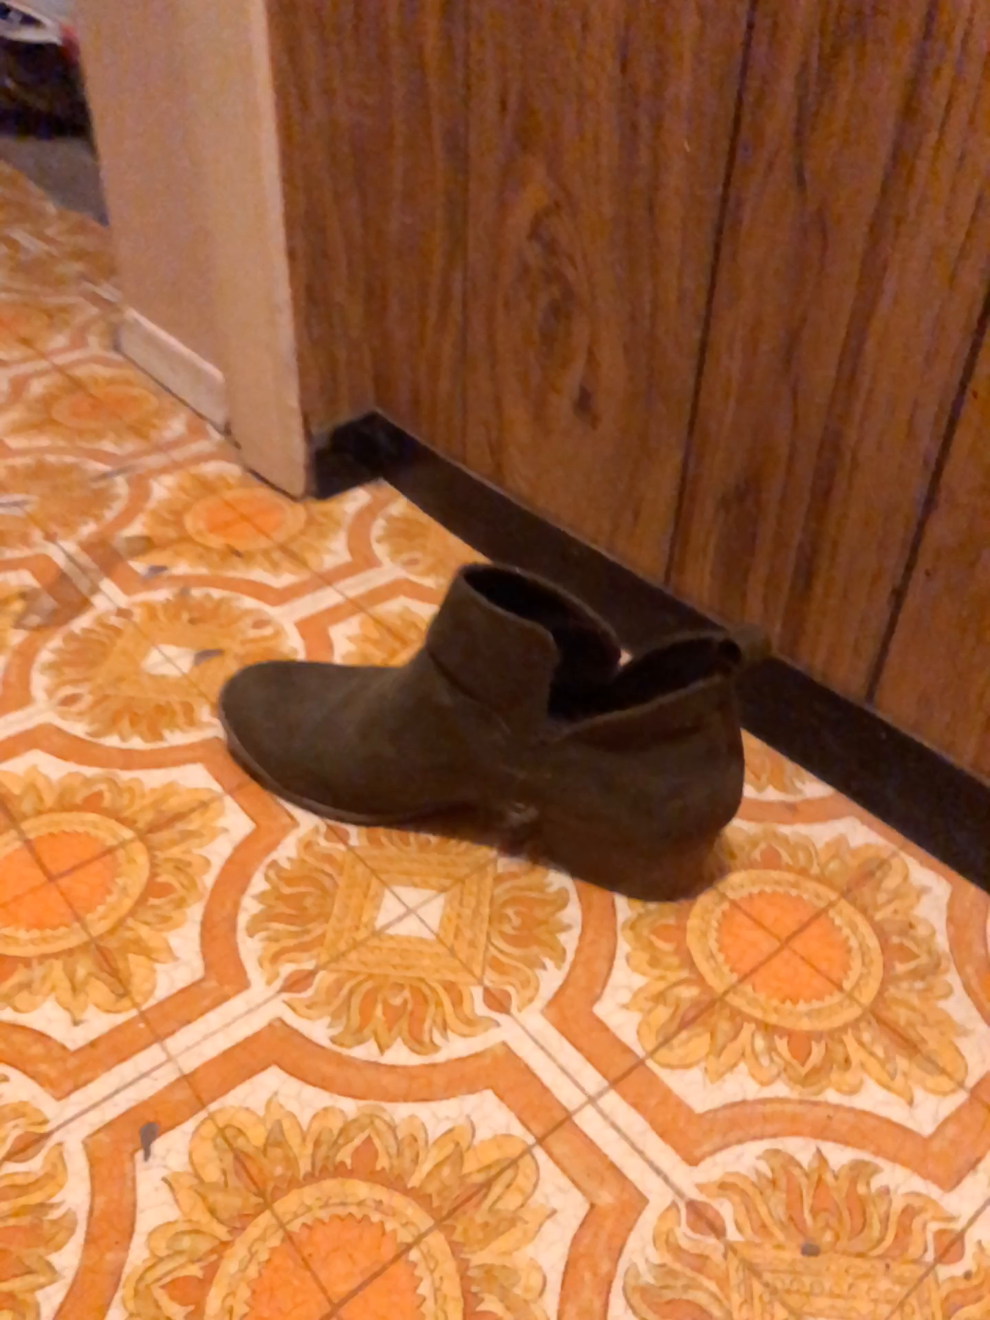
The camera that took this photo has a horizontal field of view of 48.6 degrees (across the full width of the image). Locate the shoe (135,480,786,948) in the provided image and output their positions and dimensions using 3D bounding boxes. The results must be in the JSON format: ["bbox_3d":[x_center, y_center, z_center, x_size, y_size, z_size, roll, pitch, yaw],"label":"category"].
[{"bbox_3d":[-0.017,0.019,0.495,0.260,0.130,0.080,14,39,15],"label":"shoe"}]
